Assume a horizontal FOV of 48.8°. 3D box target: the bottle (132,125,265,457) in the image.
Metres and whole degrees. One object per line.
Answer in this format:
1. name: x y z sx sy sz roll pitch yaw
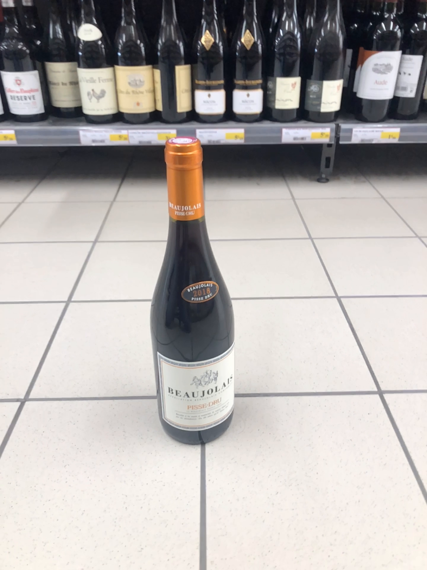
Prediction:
1. bottle: -0.015 0.015 0.428 0.090 0.288 0.090 0 30 0
